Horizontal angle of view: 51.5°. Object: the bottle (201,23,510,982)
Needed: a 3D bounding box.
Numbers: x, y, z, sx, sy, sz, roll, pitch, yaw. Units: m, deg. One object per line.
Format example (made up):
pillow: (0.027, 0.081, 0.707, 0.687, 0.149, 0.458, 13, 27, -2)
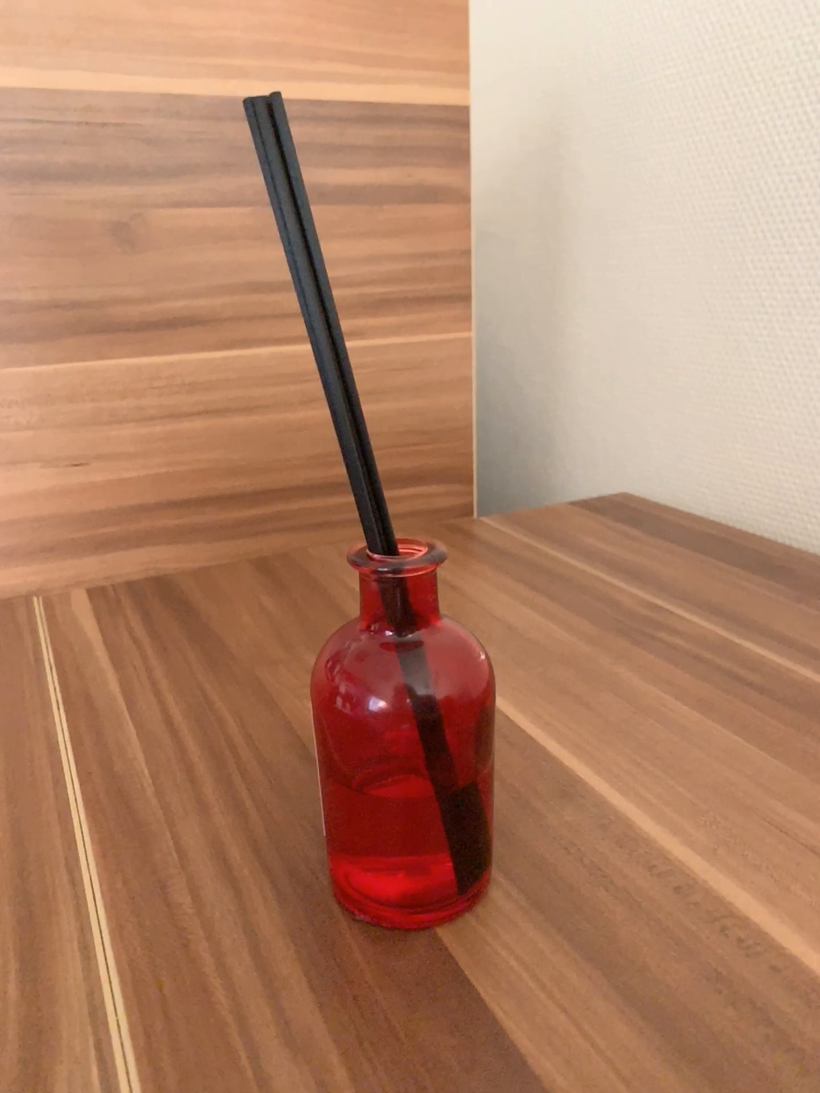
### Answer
bottle: (-0.011, -0.001, 0.237, 0.060, 0.239, 0.050, -9, 19, -19)
